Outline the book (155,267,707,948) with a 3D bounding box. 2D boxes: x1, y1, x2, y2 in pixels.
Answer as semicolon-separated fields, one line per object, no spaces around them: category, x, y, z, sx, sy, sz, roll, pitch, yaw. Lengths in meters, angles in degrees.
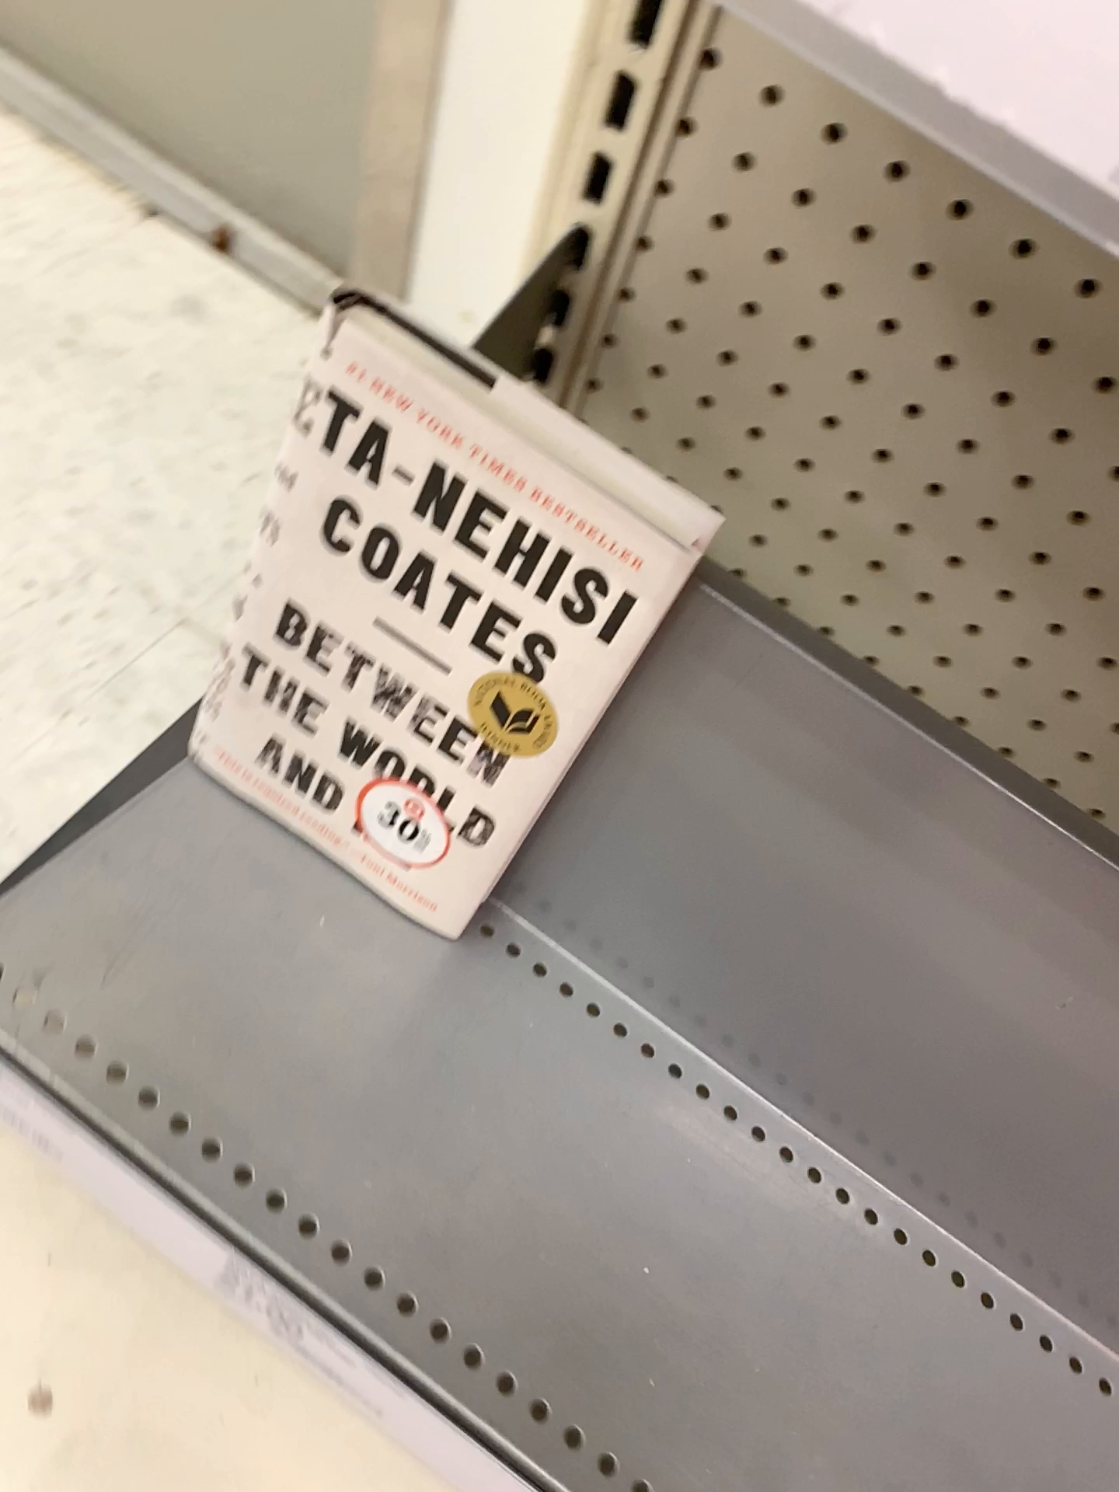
book;-0.054;-0.034;0.379;0.129;0.187;0.030;34;38;5
